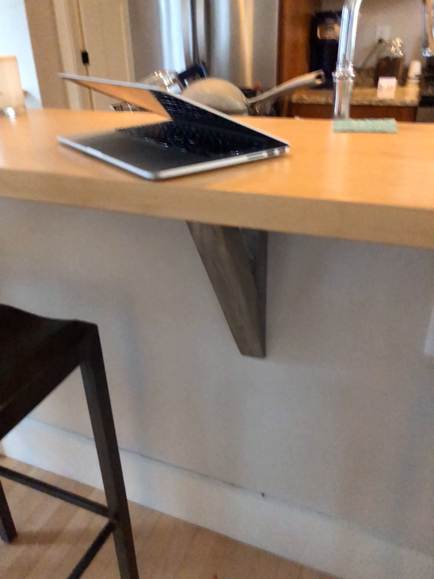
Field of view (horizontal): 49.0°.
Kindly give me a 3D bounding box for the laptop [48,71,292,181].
[{"bbox_3d":[-0.078,-0.245,0.669,0.211,0.084,0.301,-20,34,-30],"label":"laptop"}]
